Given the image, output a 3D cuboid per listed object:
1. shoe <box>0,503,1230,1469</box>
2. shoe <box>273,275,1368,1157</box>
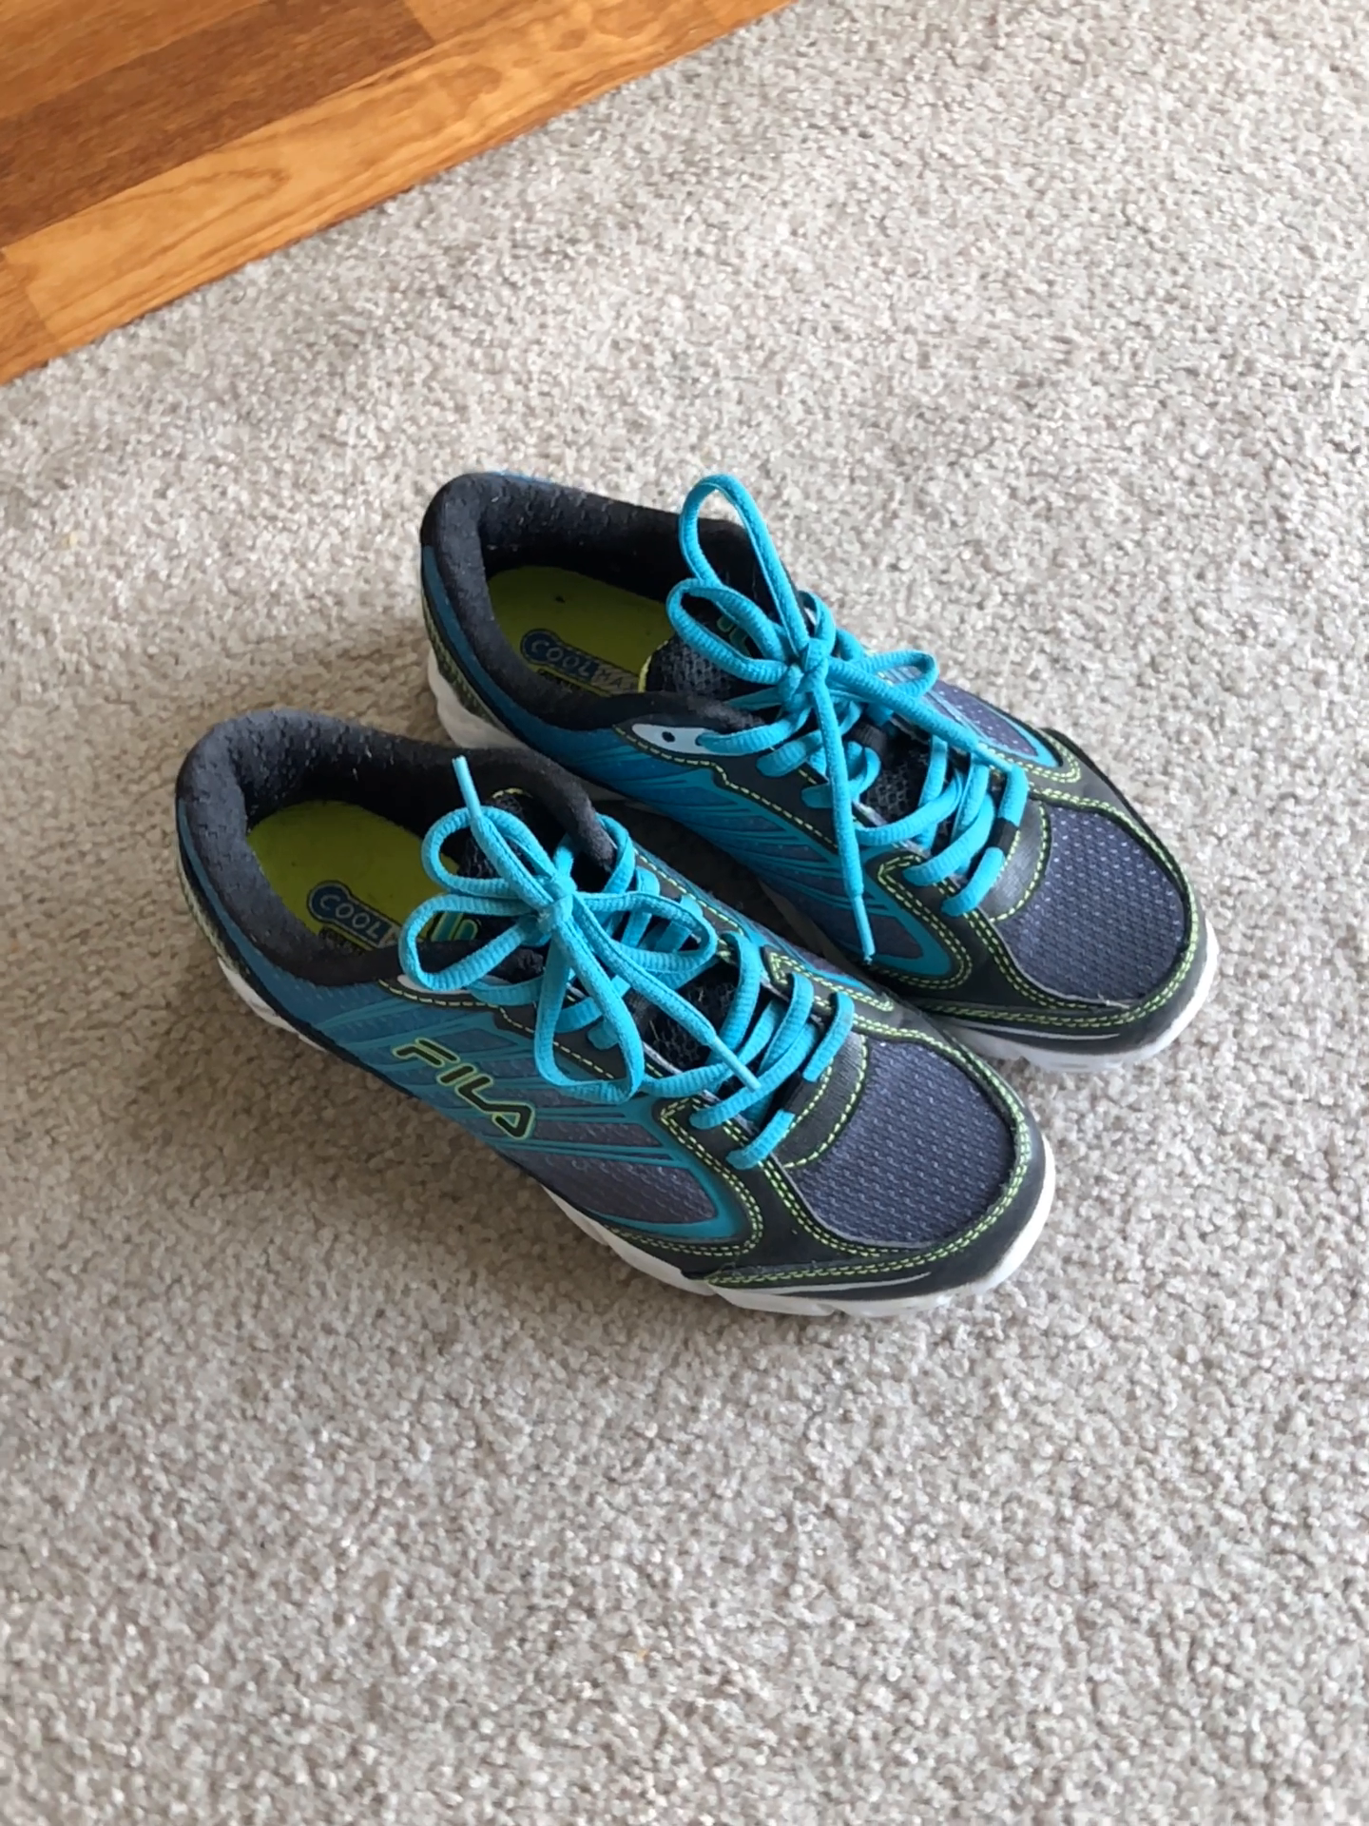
[{"bbox_3d":[-0.021,0.020,0.401,0.271,0.119,0.105,28,68,14],"label":"shoe"},{"bbox_3d":[0.039,-0.054,0.434,0.275,0.119,0.102,27,71,13],"label":"shoe"}]
